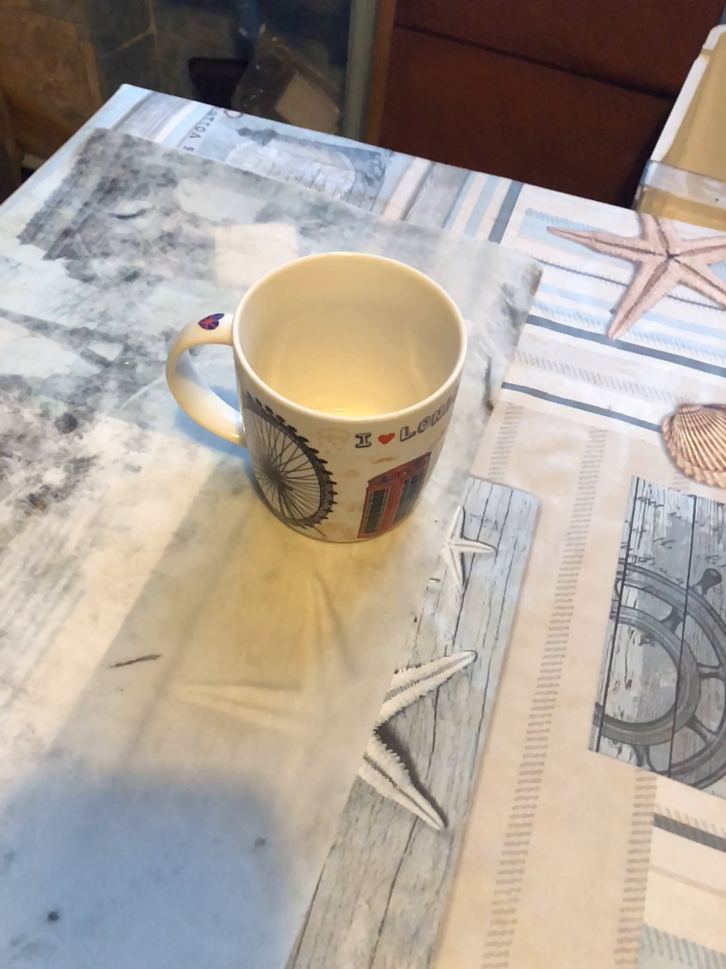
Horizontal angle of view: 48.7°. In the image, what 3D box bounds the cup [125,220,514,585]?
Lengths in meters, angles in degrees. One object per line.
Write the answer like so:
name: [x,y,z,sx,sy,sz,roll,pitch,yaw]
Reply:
cup: [-0.014,-0.033,0.322,0.121,0.086,0.085,15,51,6]
